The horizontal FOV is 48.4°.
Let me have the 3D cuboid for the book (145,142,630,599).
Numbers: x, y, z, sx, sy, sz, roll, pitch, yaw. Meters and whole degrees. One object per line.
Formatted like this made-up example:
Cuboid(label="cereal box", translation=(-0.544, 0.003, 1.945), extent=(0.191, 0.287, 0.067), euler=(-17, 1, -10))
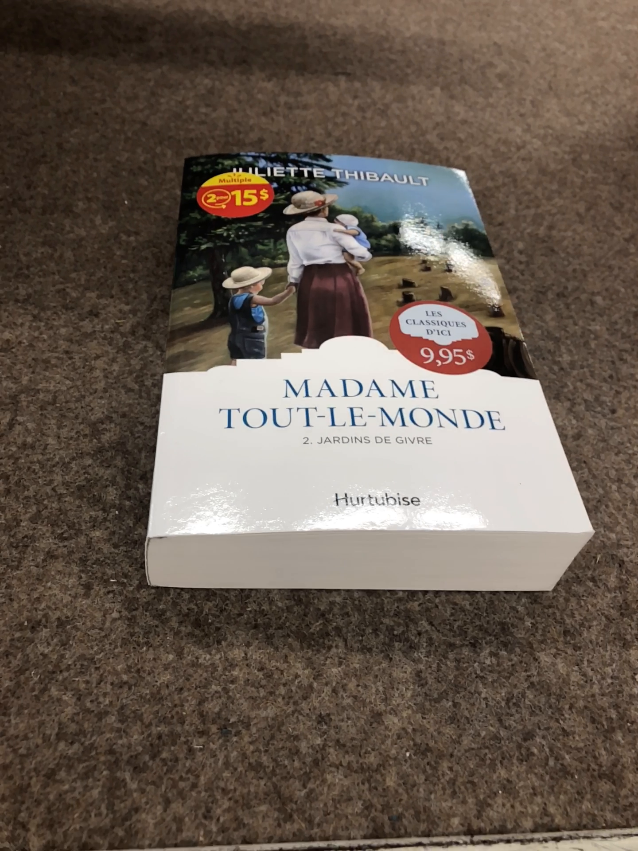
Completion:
Cuboid(label="book", translation=(0.017, -0.039, 0.318), extent=(0.160, 0.050, 0.222), euler=(1, 52, -6))
